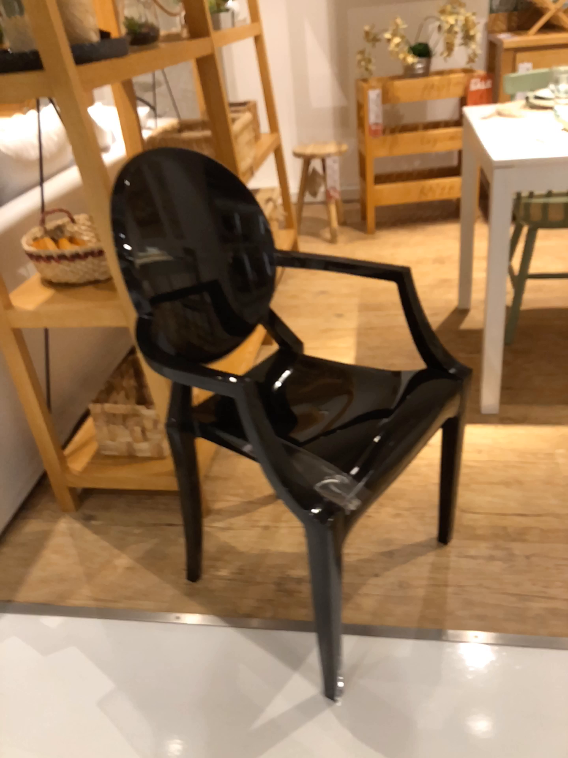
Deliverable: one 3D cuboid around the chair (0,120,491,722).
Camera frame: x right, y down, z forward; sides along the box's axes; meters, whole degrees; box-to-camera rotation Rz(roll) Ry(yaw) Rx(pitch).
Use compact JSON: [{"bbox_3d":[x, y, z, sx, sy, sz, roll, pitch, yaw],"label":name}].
[{"bbox_3d":[-0.006,0.026,1.231,0.591,0.903,0.543,13,35,30],"label":"chair"}]
